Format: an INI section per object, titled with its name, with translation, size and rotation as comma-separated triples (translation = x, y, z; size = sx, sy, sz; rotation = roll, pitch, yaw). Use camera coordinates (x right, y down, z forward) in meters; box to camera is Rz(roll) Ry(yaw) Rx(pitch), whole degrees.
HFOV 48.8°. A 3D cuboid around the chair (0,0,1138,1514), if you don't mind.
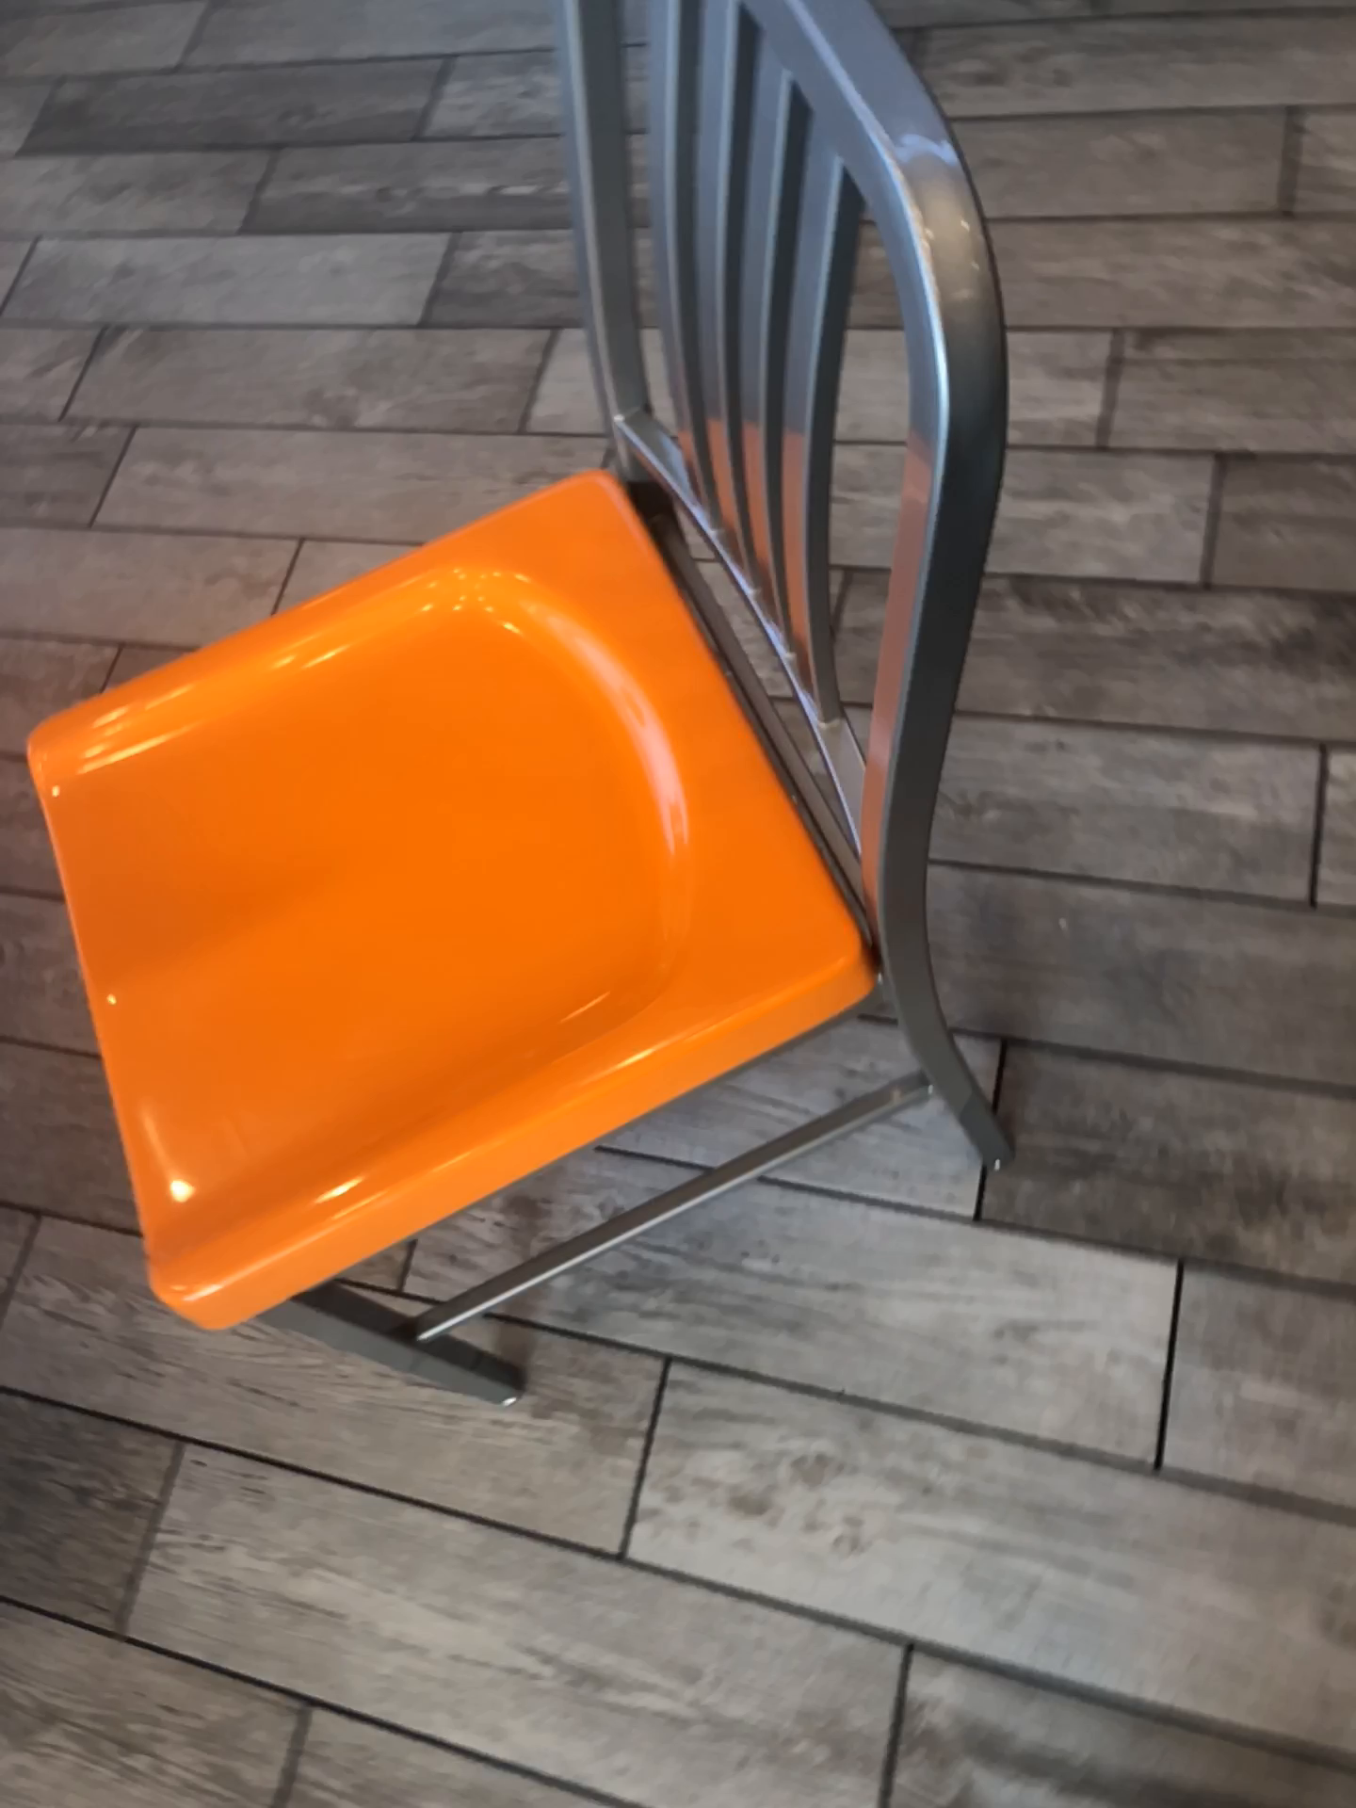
[chair]
translation = -0.119, -0.033, 0.816
size = 0.510, 0.819, 0.471
rotation = -27, 62, 1
